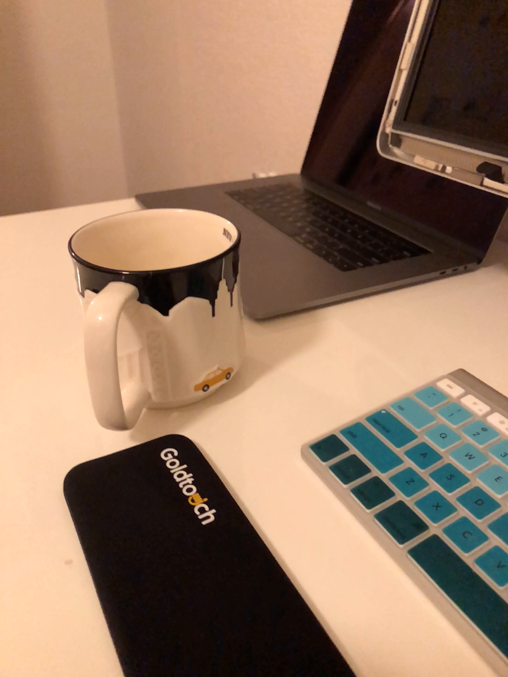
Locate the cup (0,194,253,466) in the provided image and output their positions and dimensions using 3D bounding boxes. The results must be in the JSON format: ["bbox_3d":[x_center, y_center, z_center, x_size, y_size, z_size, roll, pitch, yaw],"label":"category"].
[{"bbox_3d":[-0.066,-0.018,0.343,0.110,0.089,0.161,4,31,7],"label":"cup"}]
